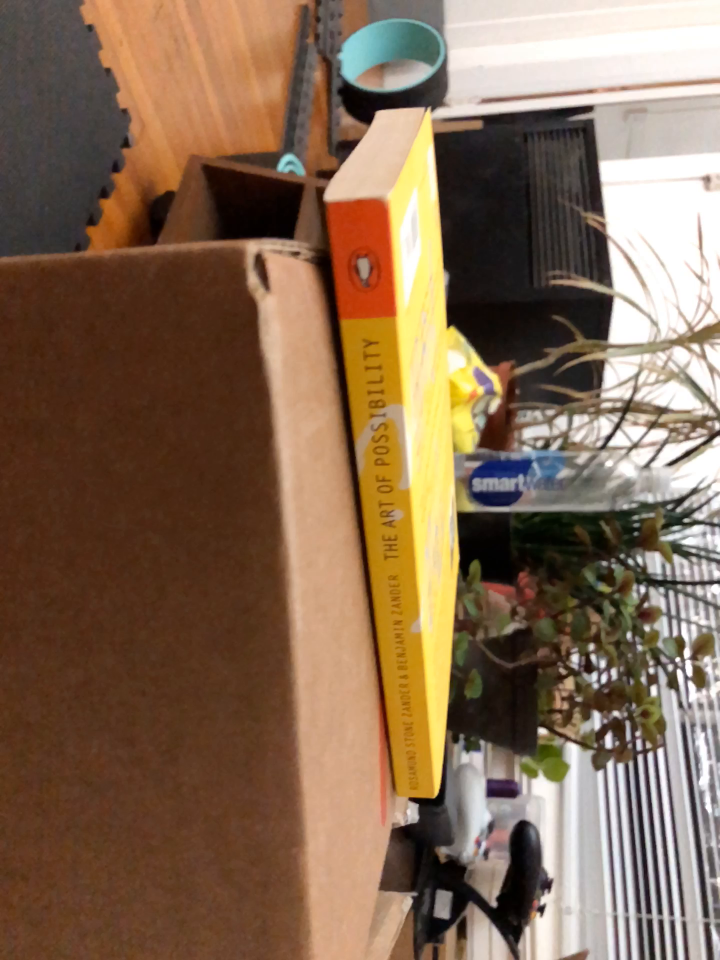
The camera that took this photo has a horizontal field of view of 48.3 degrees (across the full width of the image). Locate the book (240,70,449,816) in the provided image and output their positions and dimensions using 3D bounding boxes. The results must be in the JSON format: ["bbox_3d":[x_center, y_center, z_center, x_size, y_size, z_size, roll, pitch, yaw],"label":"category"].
[{"bbox_3d":[0.010,-0.016,0.278,0.150,0.020,0.210,-74,160,-56],"label":"book"}]
